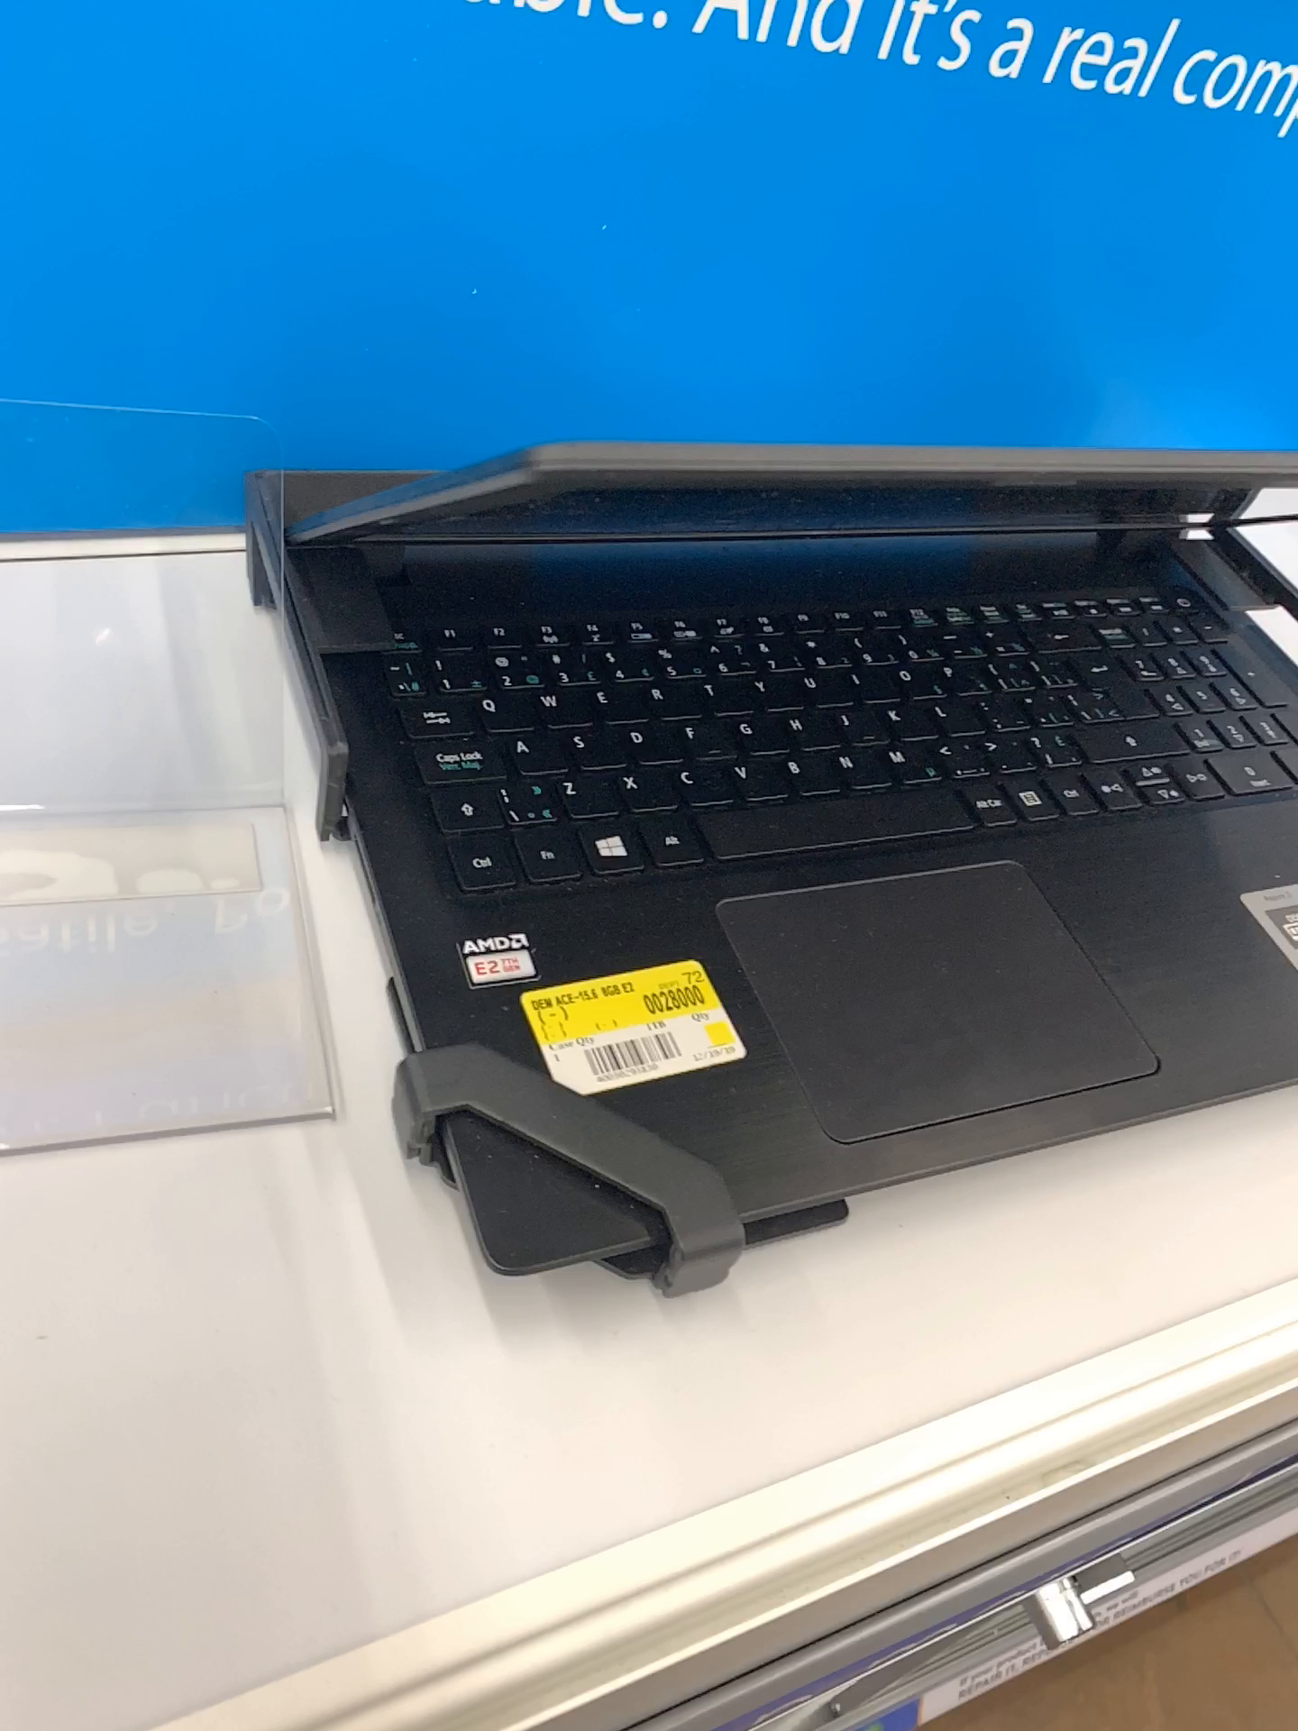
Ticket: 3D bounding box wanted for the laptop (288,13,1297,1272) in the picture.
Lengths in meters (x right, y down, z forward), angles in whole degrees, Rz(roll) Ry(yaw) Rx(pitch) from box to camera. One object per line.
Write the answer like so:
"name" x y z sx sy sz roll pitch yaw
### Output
"laptop" 0.112 -0.076 0.362 0.365 0.146 0.234 -7 52 -24
